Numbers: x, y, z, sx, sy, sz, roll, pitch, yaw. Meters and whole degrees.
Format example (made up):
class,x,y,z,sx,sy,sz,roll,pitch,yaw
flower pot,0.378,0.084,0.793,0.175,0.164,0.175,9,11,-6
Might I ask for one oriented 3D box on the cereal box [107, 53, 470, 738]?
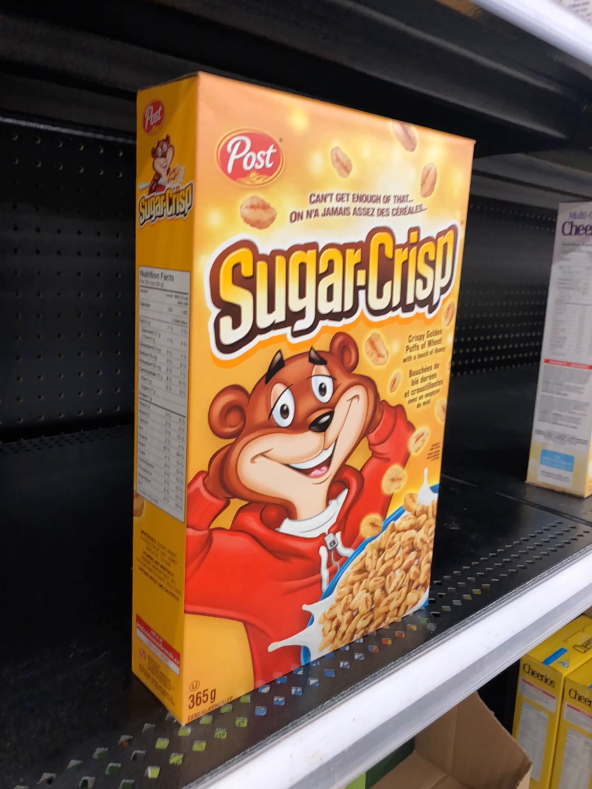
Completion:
class,x,y,z,sx,sy,sz,roll,pitch,yaw
cereal box,-0.001,0.000,0.376,0.200,0.309,0.060,-7,15,-40
